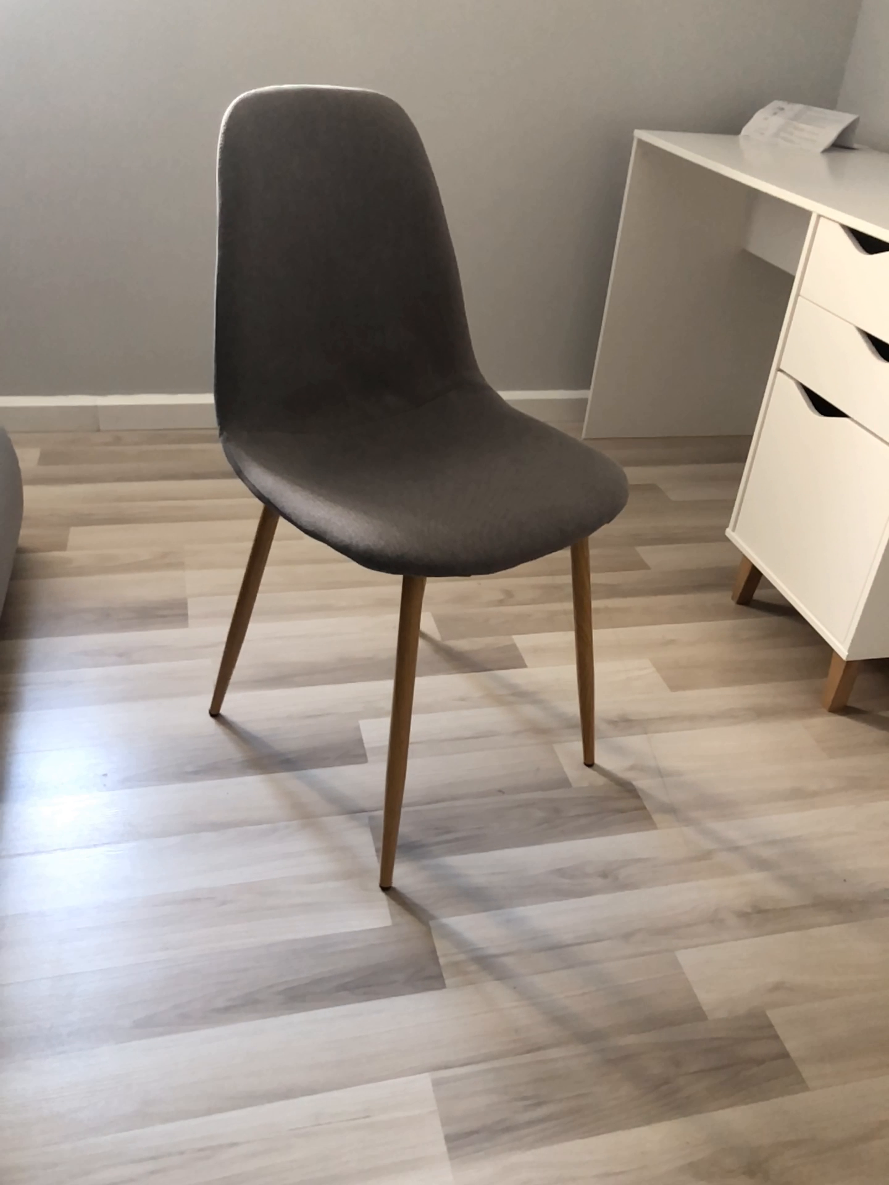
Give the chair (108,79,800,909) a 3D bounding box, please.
[{"bbox_3d":[-0.034,-0.167,1.226,0.473,0.785,0.571,-21,40,-36],"label":"chair"}]
